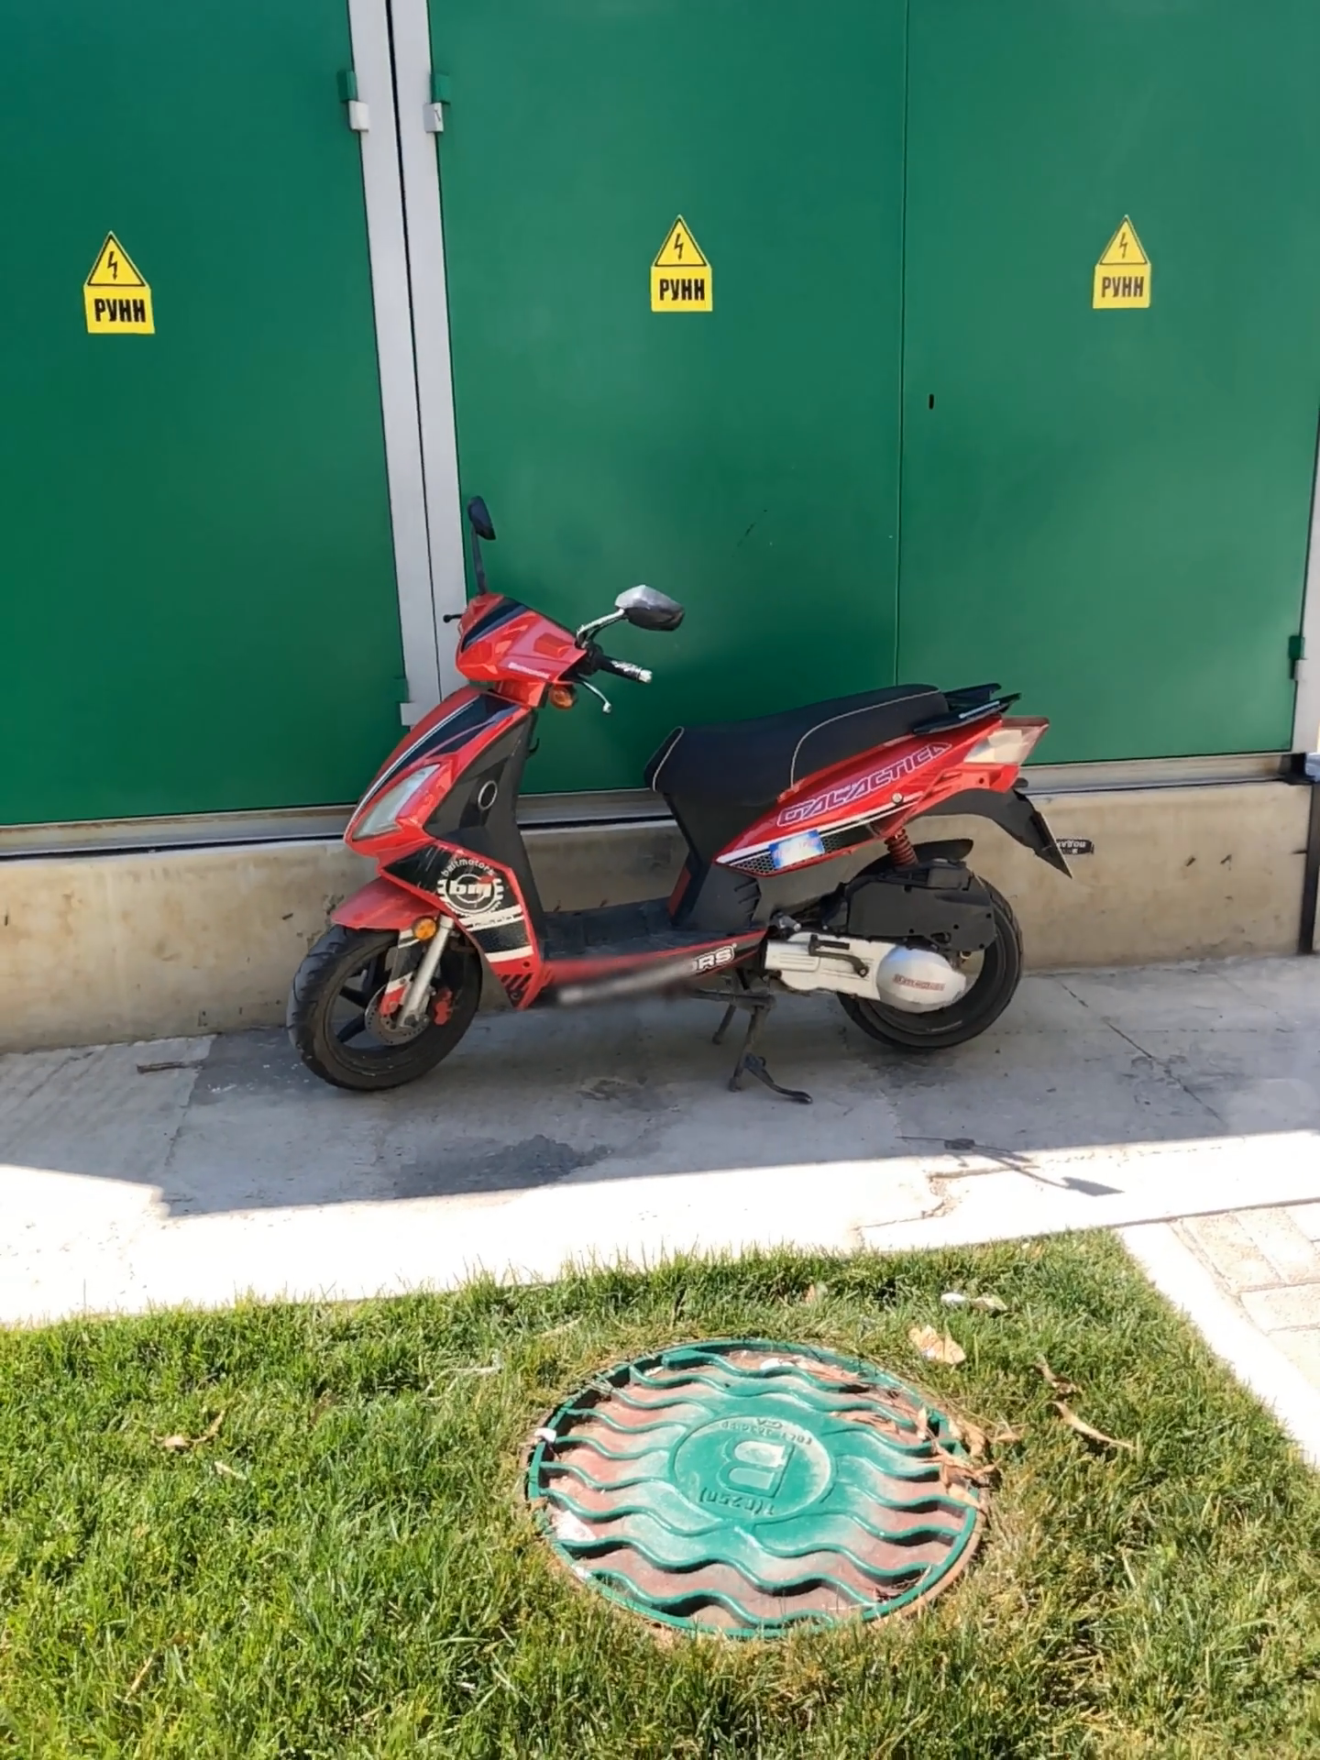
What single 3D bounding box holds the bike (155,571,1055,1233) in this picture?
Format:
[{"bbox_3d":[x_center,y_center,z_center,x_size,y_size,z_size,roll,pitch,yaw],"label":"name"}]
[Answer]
[{"bbox_3d":[-0.007,-0.016,2.960,1.590,1.087,0.590,-4,15,-6],"label":"bike"}]
